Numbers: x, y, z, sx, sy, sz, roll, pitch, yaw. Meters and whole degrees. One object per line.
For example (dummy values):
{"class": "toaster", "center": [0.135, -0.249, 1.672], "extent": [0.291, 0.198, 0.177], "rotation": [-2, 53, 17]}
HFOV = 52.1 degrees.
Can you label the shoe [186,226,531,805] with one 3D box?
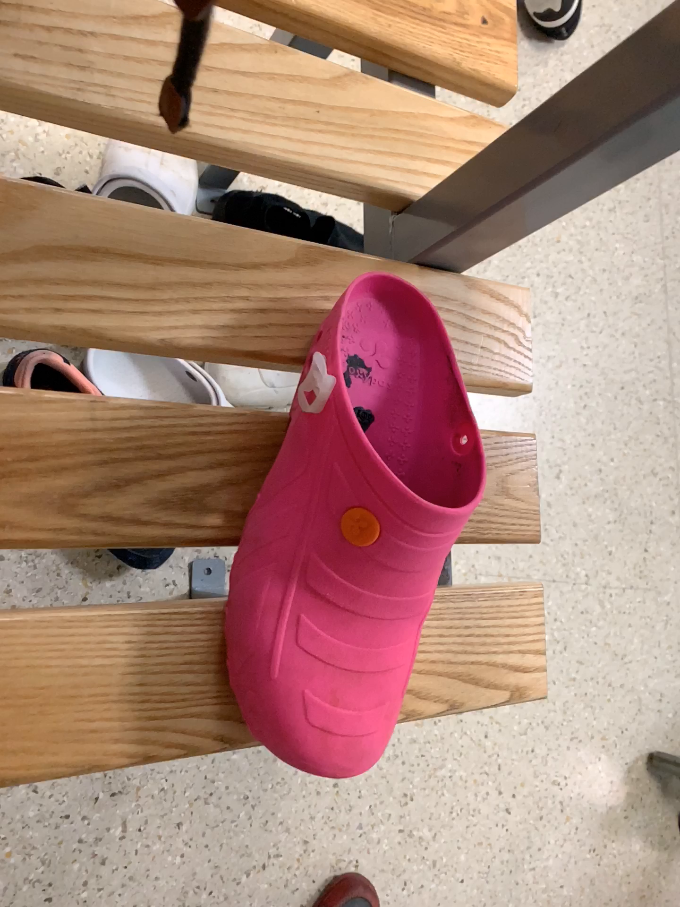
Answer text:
{"class": "shoe", "center": [0.012, 0.027, 0.315], "extent": [0.097, 0.068, 0.221], "rotation": [18, 75, -25]}
